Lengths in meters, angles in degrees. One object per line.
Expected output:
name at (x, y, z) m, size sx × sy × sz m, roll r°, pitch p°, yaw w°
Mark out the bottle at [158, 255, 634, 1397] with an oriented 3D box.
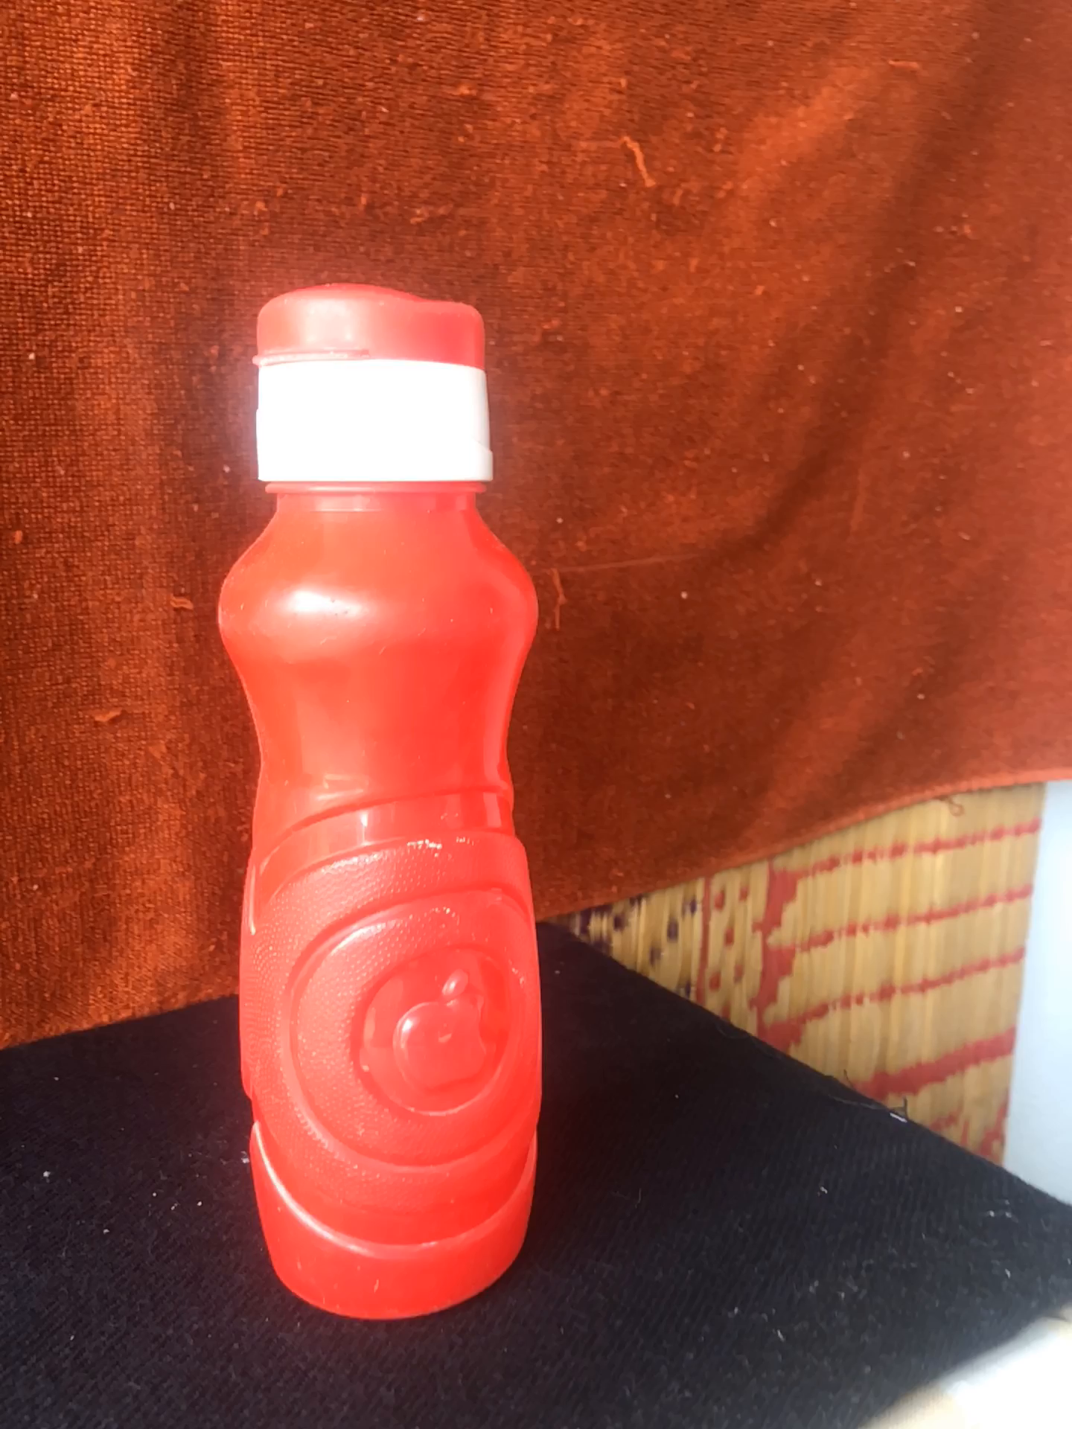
bottle at (-0.037, 0.022, 0.267) m, size 0.080 × 0.219 × 0.070 m, roll -3°, pitch 13°, yaw -24°
